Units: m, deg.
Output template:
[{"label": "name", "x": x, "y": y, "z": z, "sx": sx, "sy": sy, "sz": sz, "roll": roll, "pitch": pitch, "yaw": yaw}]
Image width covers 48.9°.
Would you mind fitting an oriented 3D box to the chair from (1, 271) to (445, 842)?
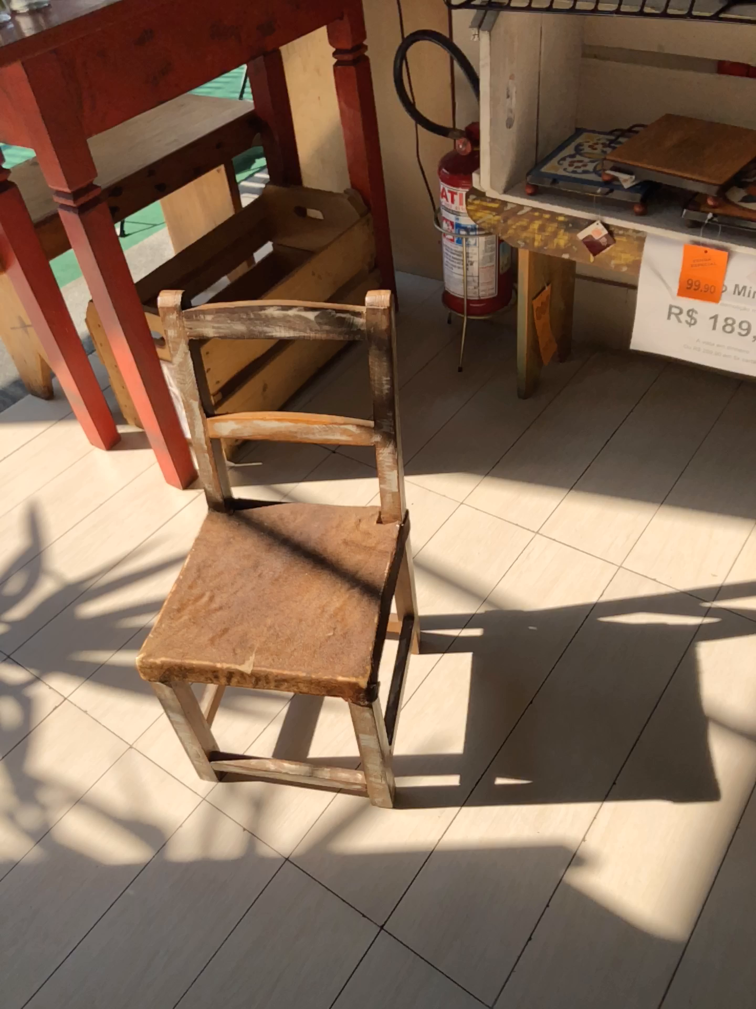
[{"label": "chair", "x": -0.108, "y": 0.078, "z": 0.994, "sx": 0.300, "sy": 0.596, "sz": 0.342, "roll": 3, "pitch": 44, "yaw": 13}]
